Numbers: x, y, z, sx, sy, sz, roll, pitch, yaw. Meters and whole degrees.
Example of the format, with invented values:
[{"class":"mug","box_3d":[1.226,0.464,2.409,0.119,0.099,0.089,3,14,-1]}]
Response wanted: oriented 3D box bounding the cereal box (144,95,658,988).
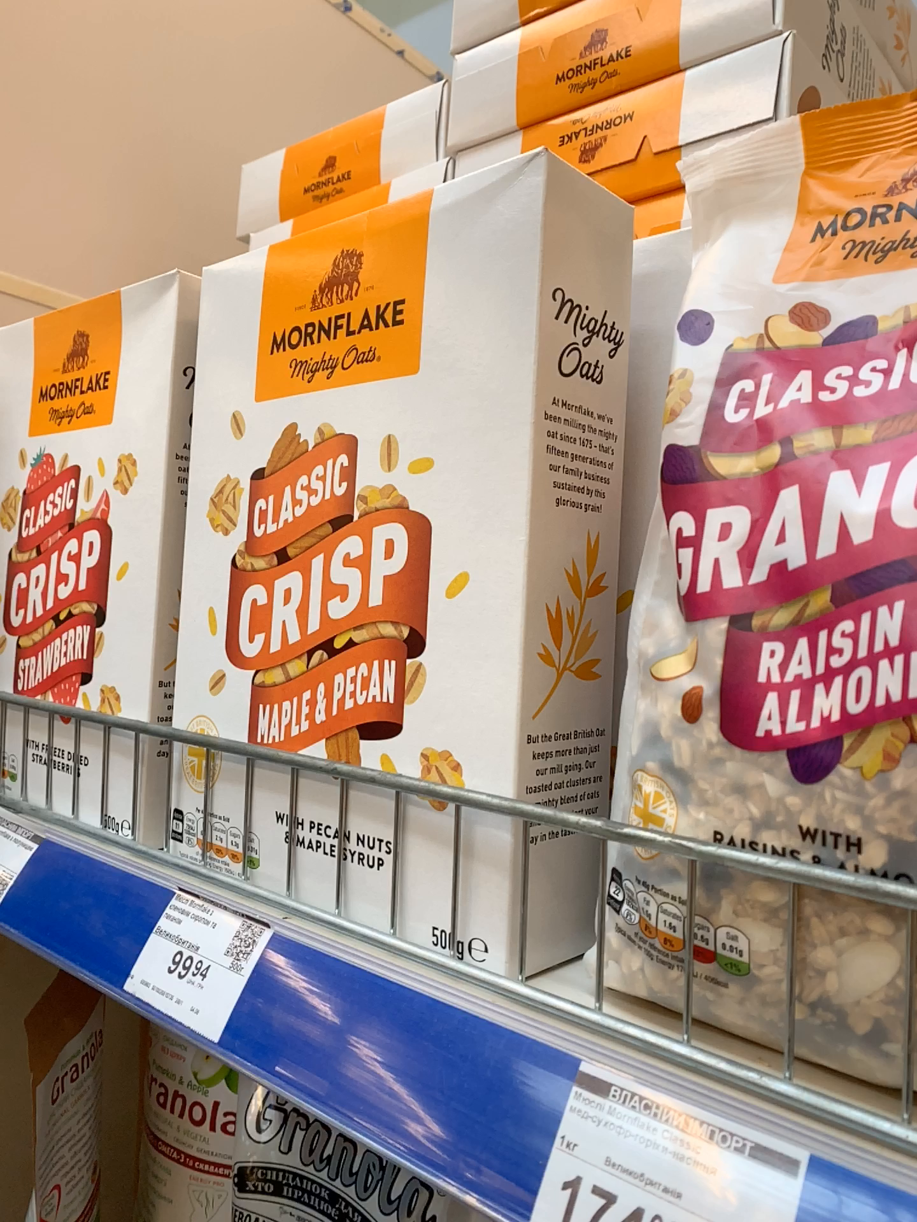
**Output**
[{"class":"cereal box","box_3d":[-0.031,-0.023,0.350,0.190,0.250,0.060,2,-2,41]}]
